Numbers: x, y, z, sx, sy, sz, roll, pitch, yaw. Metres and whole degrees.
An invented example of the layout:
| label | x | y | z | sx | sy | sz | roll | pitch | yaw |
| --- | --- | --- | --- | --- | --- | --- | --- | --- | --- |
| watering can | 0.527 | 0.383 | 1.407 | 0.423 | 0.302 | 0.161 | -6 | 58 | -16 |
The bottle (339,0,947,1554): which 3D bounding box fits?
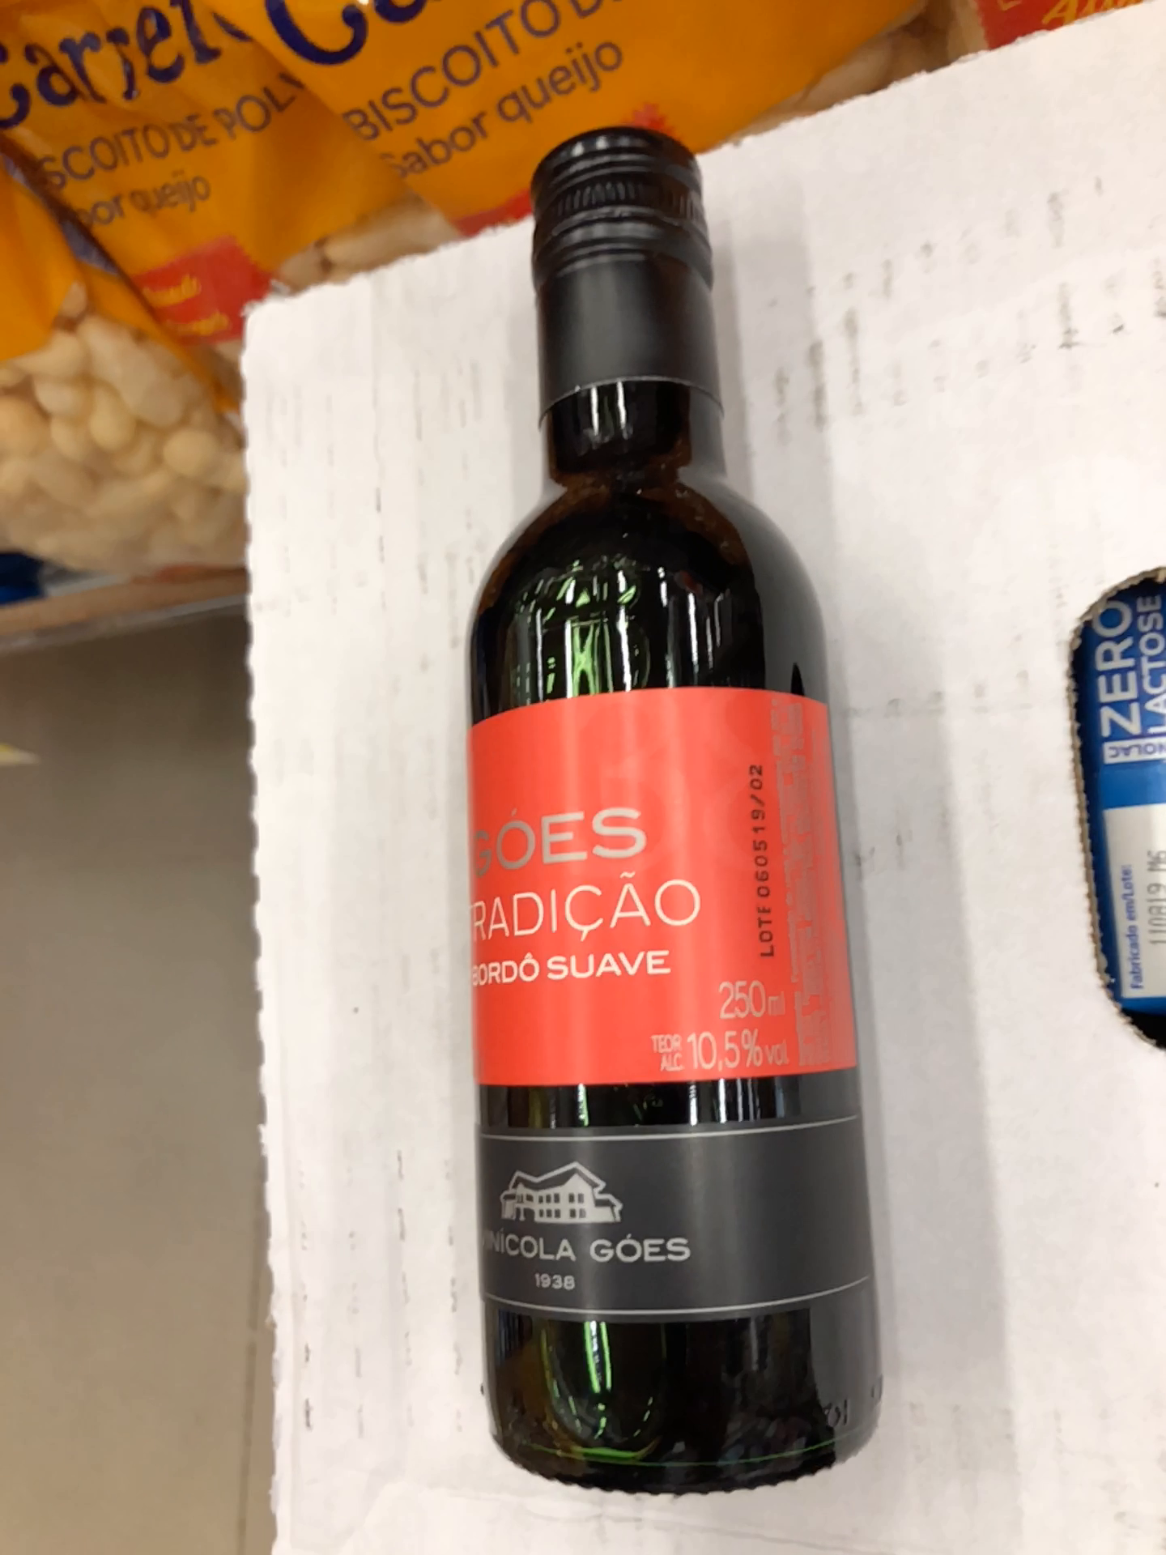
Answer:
| label | x | y | z | sx | sy | sz | roll | pitch | yaw |
| --- | --- | --- | --- | --- | --- | --- | --- | --- | --- |
| bottle | 0.006 | -0.010 | 0.186 | 0.060 | 0.050 | 0.210 | -8 | 78 | 28 |
